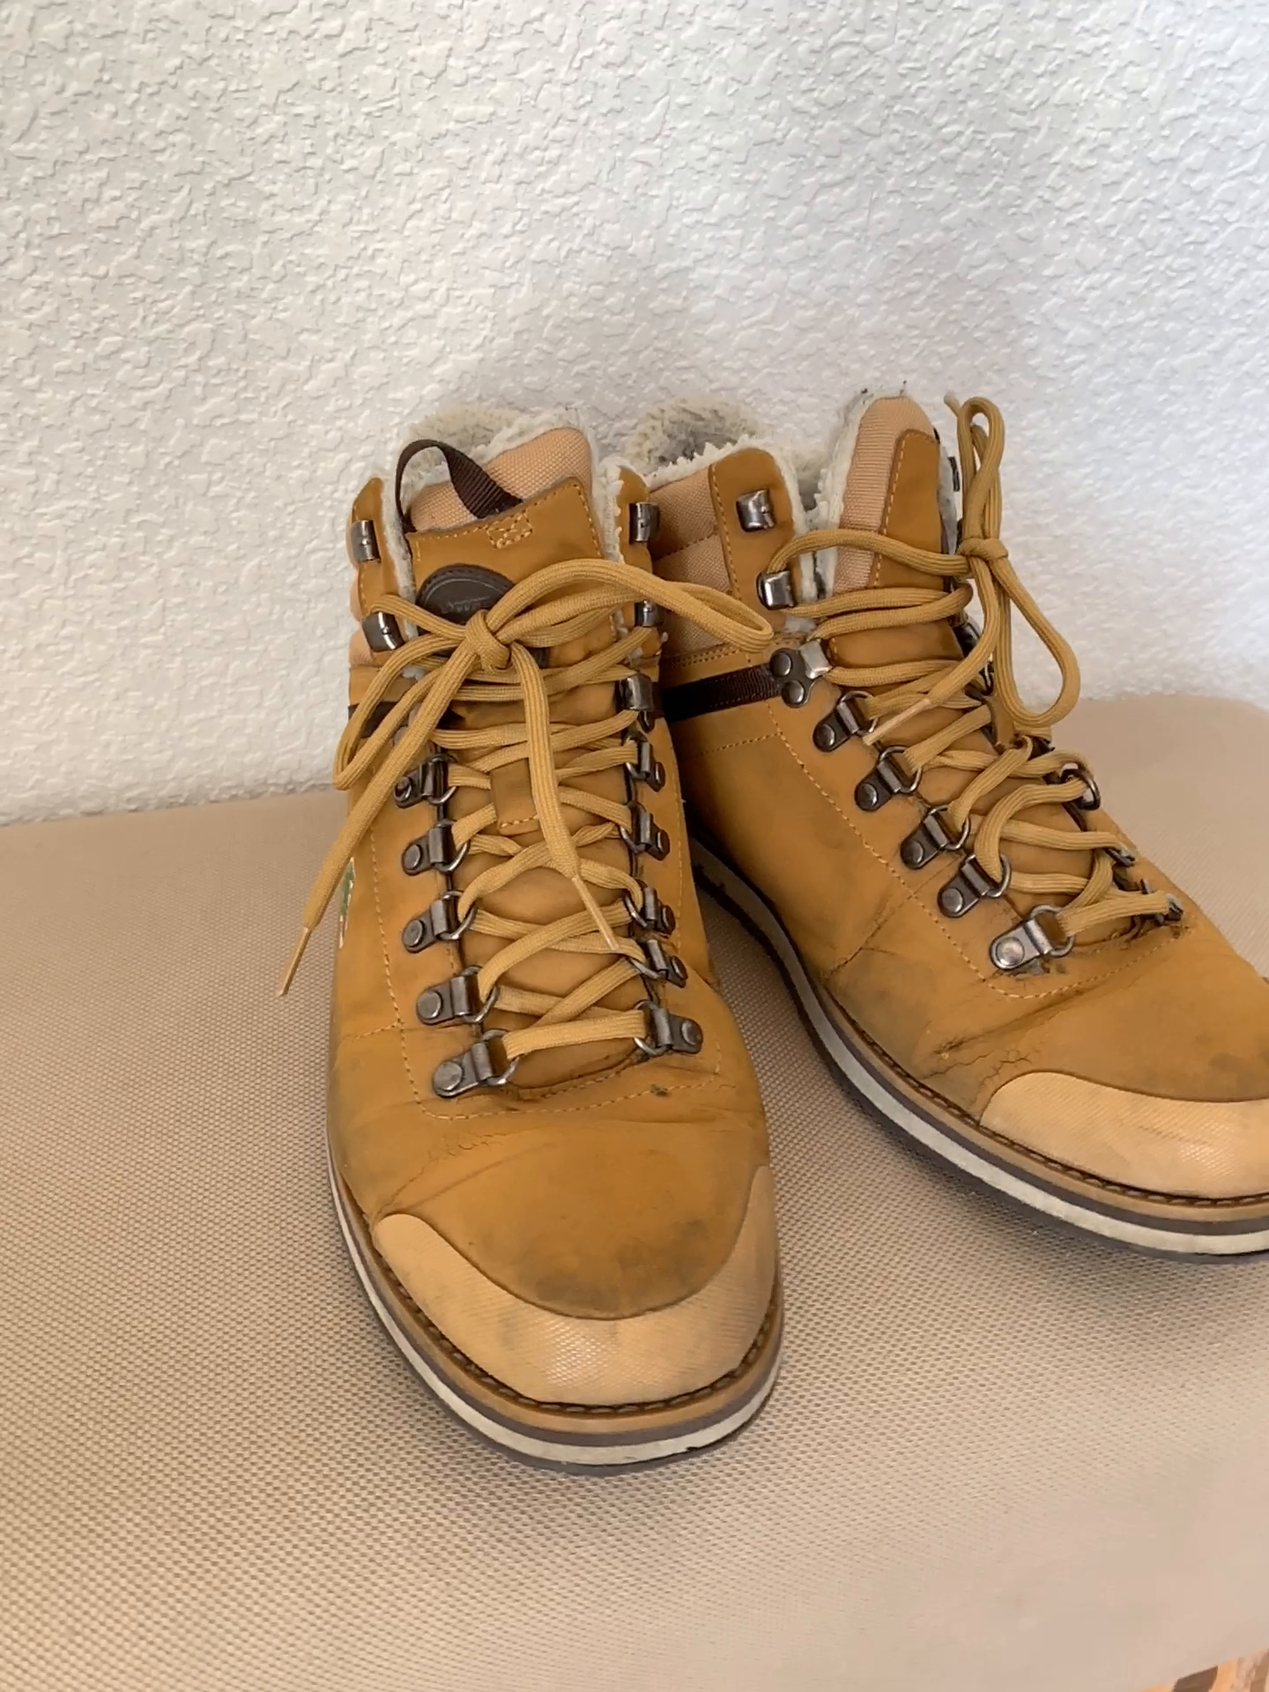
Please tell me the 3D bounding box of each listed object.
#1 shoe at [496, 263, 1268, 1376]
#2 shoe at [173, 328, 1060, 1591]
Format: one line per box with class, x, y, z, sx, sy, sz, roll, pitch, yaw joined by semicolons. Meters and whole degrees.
shoe;0.081;-0.040;0.374;0.120;0.149;0.301;-18;44;-24
shoe;-0.029;-0.011;0.337;0.120;0.149;0.302;-5;38;-9
